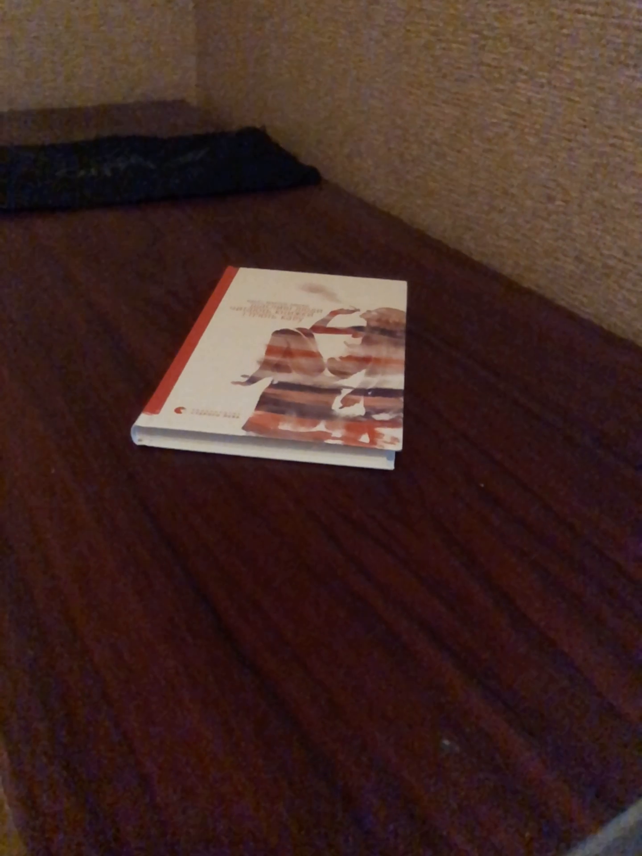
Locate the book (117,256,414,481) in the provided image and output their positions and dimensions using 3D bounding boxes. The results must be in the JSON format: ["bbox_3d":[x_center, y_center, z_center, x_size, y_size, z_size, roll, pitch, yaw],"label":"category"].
[{"bbox_3d":[-0.017,-0.053,0.454,0.150,0.020,0.229,6,35,4],"label":"book"}]
